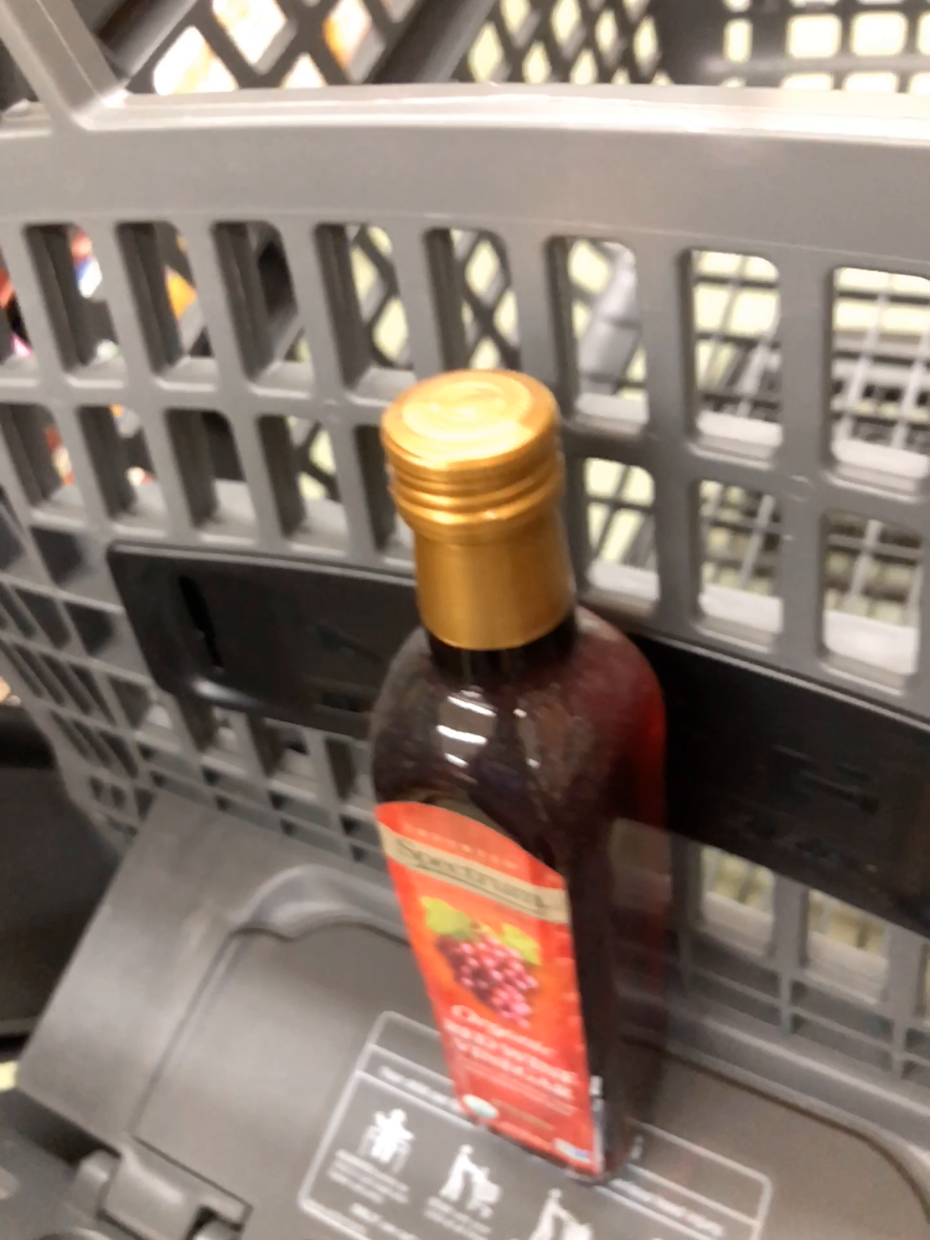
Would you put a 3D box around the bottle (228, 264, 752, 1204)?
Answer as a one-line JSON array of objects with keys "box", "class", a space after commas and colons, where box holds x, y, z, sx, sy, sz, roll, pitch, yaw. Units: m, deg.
[{"box": [0.025, 0.053, 0.278, 0.070, 0.270, 0.070, -6, 42, 6], "class": "bottle"}]
